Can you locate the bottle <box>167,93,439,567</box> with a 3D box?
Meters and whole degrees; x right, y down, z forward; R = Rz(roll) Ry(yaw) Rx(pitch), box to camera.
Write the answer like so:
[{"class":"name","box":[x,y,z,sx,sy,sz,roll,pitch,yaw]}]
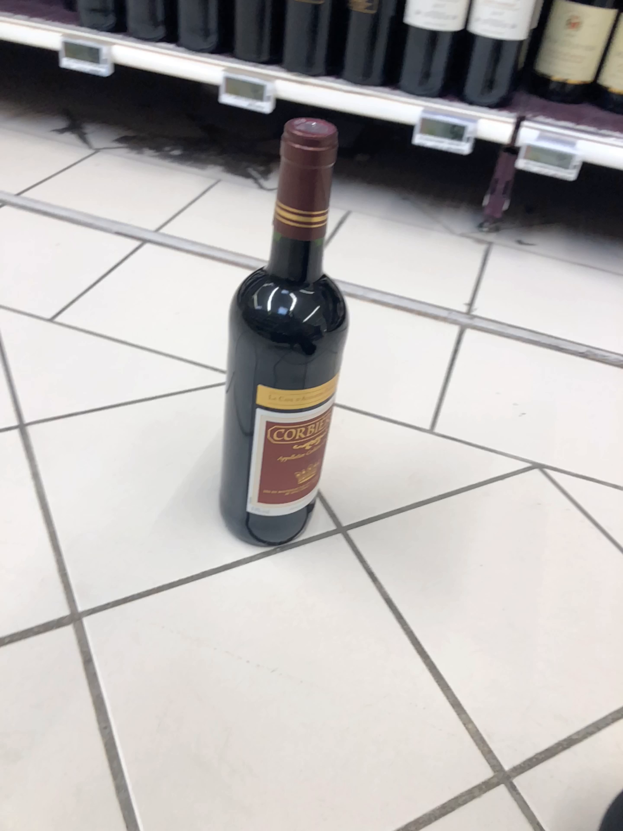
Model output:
[{"class":"bottle","box":[-0.018,-0.044,0.440,0.100,0.268,0.101,5,40,-4]}]
